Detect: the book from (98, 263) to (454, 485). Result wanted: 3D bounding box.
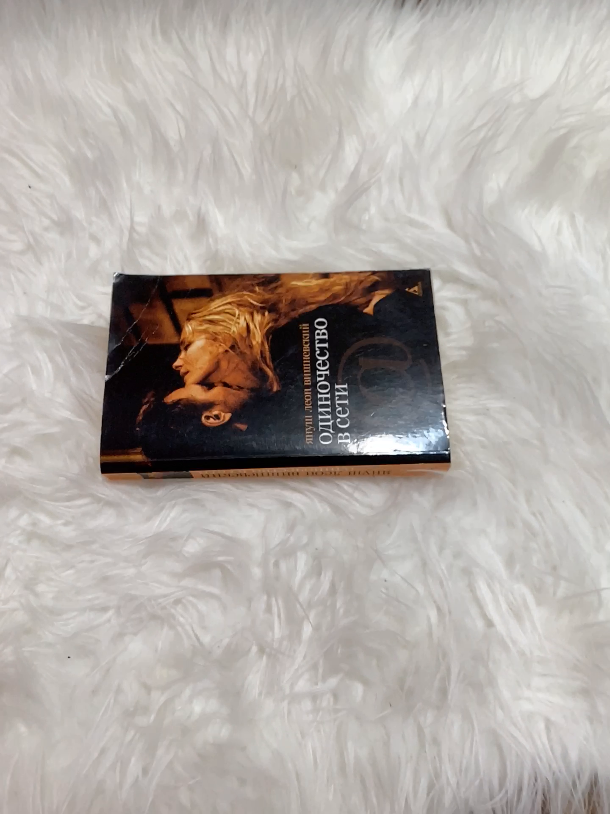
[{"bbox_3d":[-0.016,-0.019,0.346,0.176,0.030,0.113,-2,70,-2],"label":"book"}]
